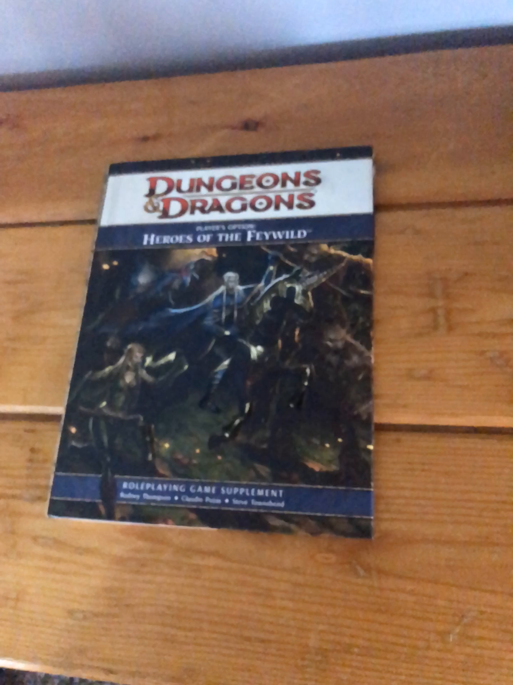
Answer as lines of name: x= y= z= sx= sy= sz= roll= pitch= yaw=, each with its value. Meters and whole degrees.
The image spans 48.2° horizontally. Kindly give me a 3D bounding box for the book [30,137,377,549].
book: x=-0.028 y=-0.012 z=0.403 sx=0.220 sy=0.020 sz=0.280 roll=0 pitch=72 yaw=12
